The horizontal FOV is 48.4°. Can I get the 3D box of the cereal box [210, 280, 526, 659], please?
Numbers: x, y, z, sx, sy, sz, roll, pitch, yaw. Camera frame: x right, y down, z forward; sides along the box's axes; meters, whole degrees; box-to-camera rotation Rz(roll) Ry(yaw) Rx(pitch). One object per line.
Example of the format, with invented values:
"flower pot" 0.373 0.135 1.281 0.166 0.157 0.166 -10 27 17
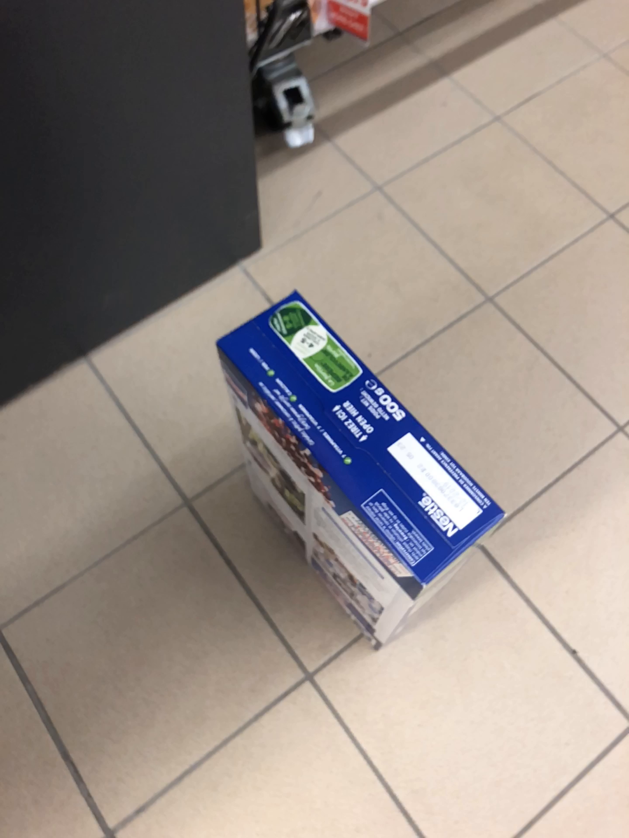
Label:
"cereal box" 0.021 0.063 0.523 0.070 0.289 0.190 -36 71 -17
